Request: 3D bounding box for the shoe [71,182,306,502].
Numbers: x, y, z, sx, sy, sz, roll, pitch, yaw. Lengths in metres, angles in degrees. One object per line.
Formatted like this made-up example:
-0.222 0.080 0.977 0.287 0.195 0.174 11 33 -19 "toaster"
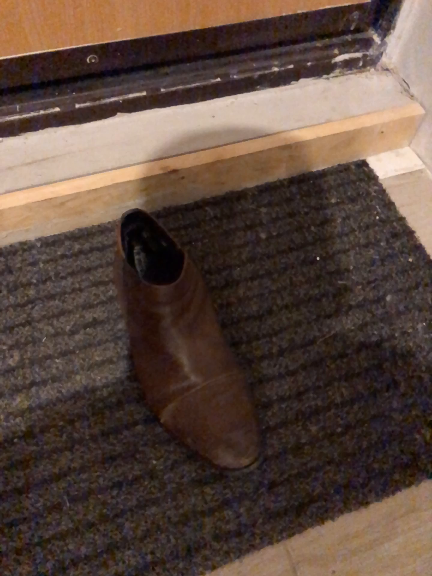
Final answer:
-0.042 0.050 0.513 0.110 0.129 0.301 -22 63 -15 "shoe"
